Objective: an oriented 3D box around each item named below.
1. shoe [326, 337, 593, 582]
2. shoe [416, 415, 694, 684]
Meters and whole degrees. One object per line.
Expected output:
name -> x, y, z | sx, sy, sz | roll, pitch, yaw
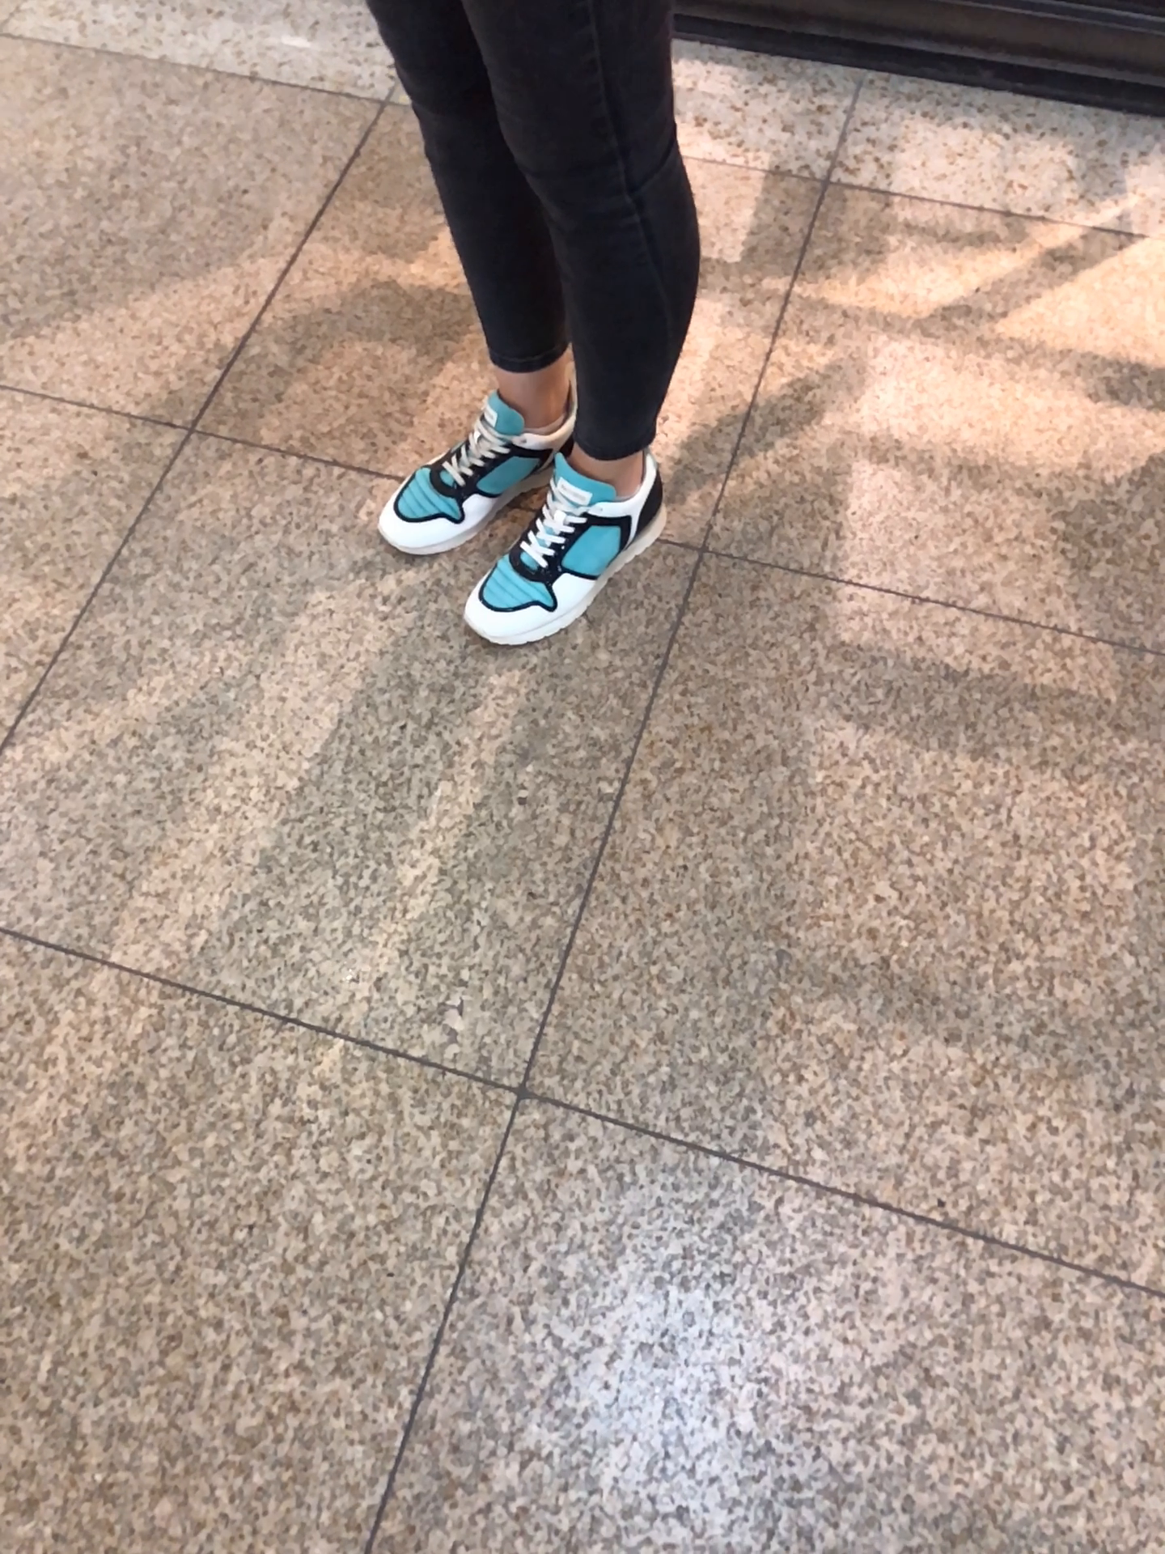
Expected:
shoe -> -0.119, -0.321, 1.286 | 0.240, 0.100, 0.107 | -34, 65, -15
shoe -> -0.022, -0.223, 1.243 | 0.250, 0.100, 0.110 | -38, 66, -17
